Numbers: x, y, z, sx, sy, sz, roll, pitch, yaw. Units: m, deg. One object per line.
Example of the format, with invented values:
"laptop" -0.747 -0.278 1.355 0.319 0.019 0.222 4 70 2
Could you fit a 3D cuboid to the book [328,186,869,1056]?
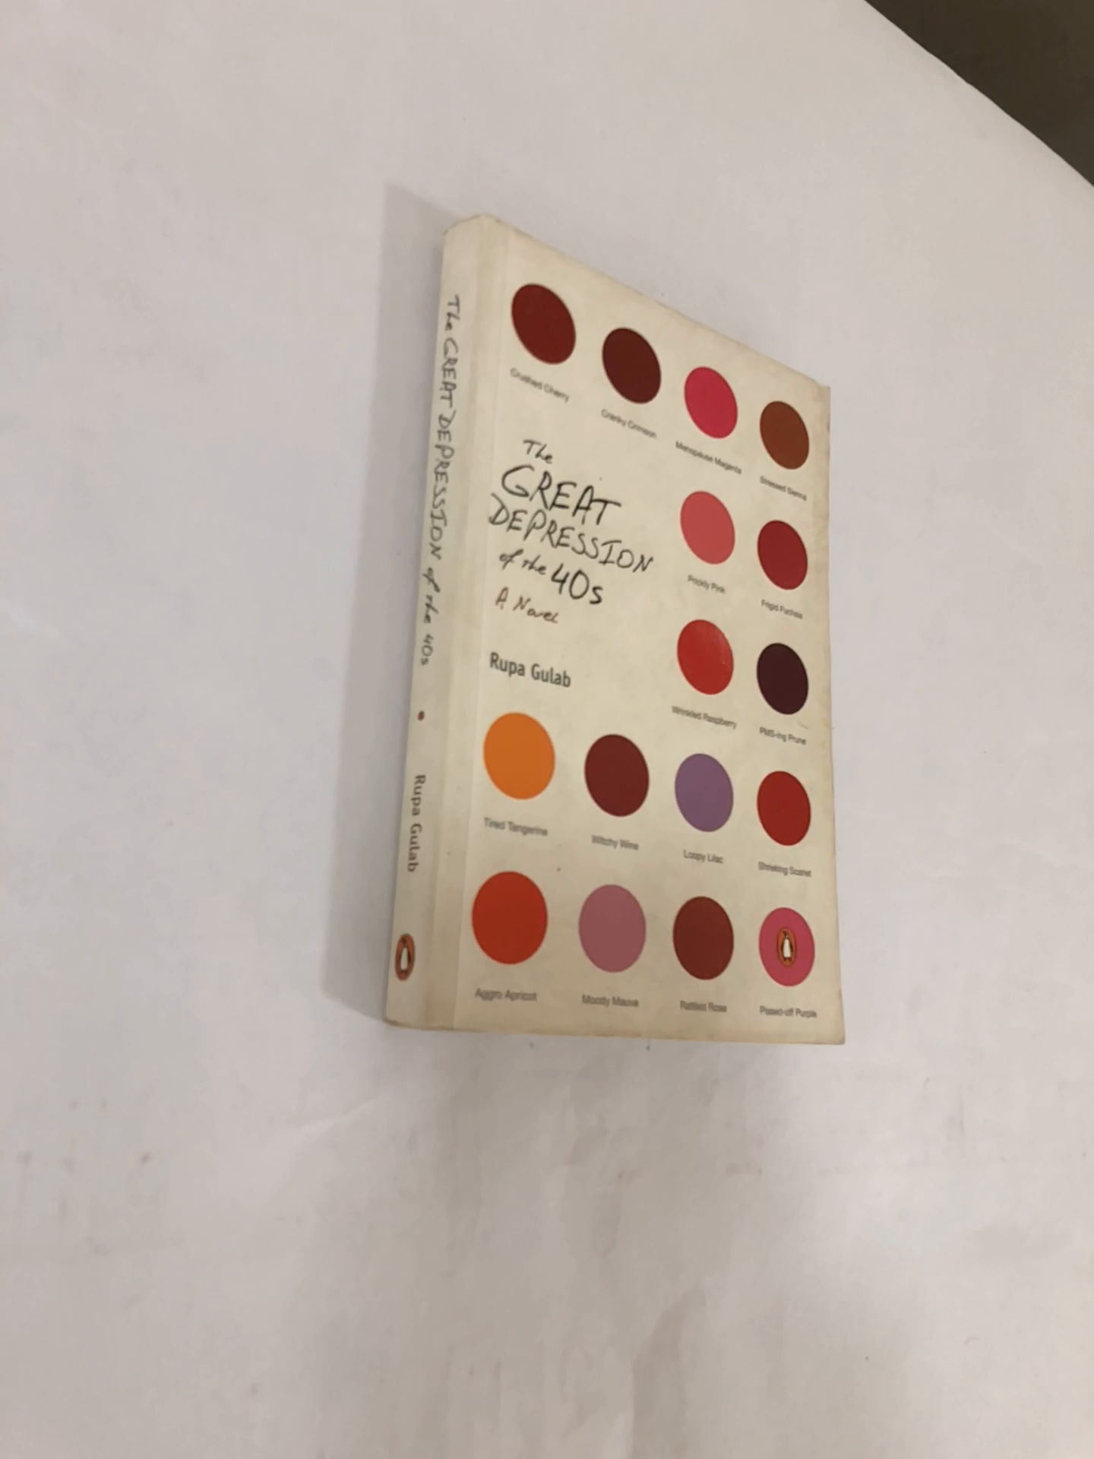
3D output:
"book" 0.022 -0.017 0.307 0.141 0.030 0.190 12 73 -36
